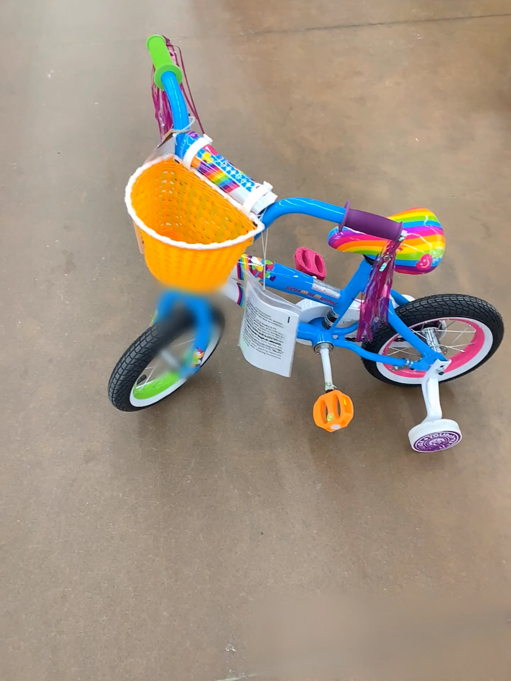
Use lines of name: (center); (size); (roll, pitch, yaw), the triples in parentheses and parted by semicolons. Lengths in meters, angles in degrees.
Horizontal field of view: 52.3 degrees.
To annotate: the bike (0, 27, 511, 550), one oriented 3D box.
bike: (0.121, -0.059, 0.960); (0.833, 0.667, 0.523); (-6, 52, -3)
